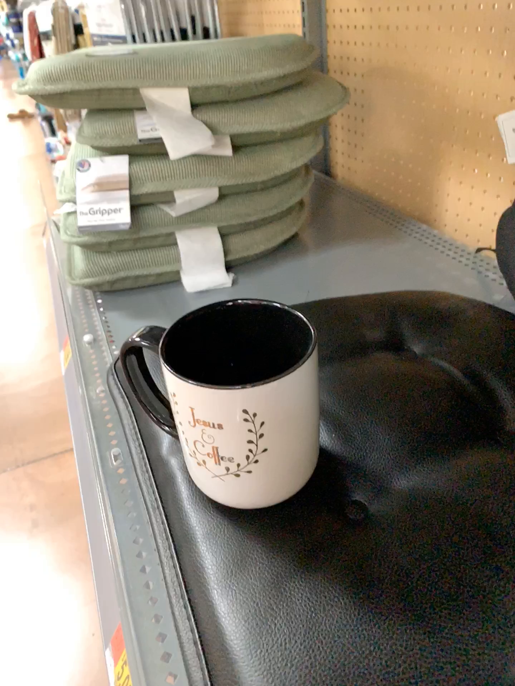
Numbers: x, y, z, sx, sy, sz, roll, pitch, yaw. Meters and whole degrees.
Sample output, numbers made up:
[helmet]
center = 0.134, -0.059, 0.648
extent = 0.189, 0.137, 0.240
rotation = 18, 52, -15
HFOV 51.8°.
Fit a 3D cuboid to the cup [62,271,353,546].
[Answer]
[cup]
center = -0.025, 0.031, 0.344
extent = 0.142, 0.104, 0.102
rotation = 14, 36, 28
